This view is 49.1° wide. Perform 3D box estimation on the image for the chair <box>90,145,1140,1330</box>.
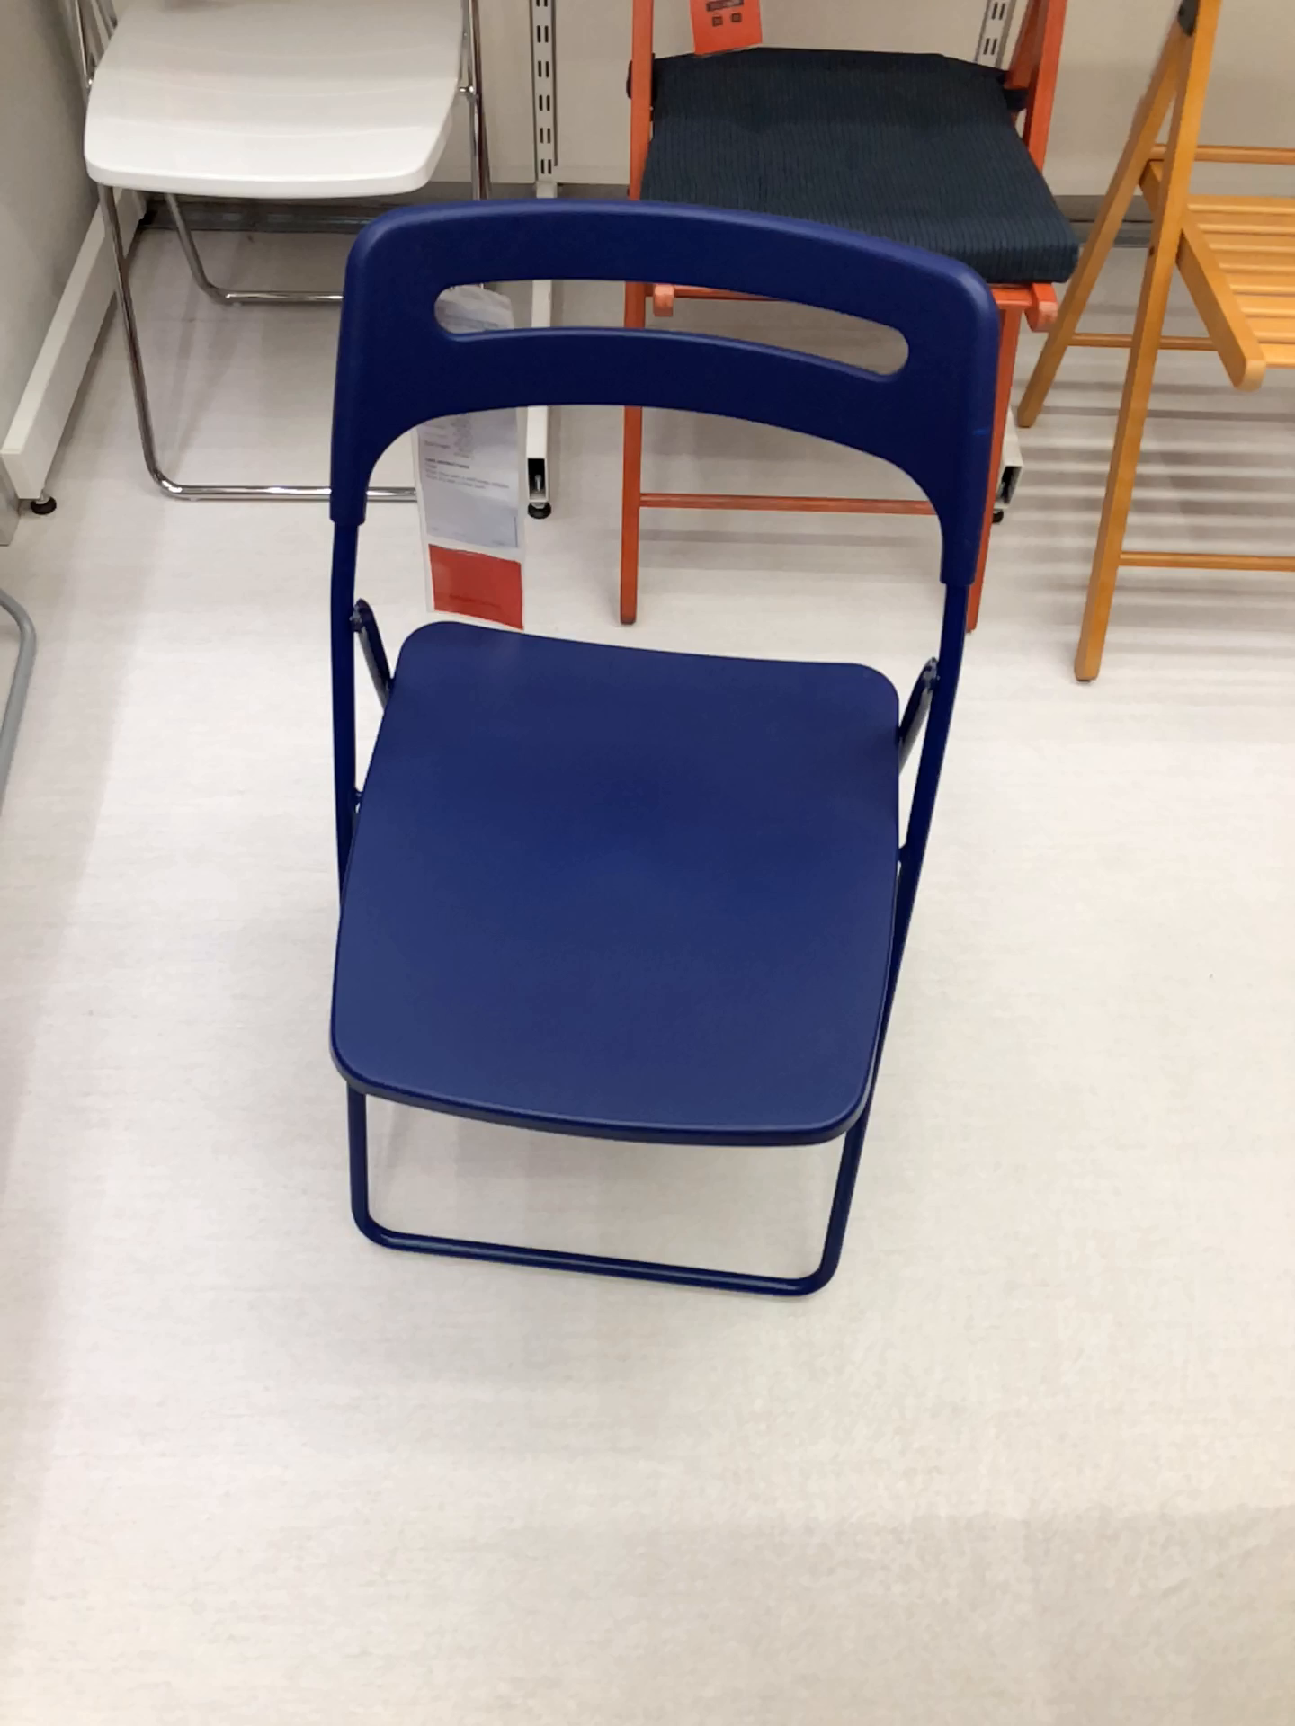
[{"bbox_3d":[-0.002,-0.033,1.047,0.460,0.697,0.502,6,56,2],"label":"chair"}]
